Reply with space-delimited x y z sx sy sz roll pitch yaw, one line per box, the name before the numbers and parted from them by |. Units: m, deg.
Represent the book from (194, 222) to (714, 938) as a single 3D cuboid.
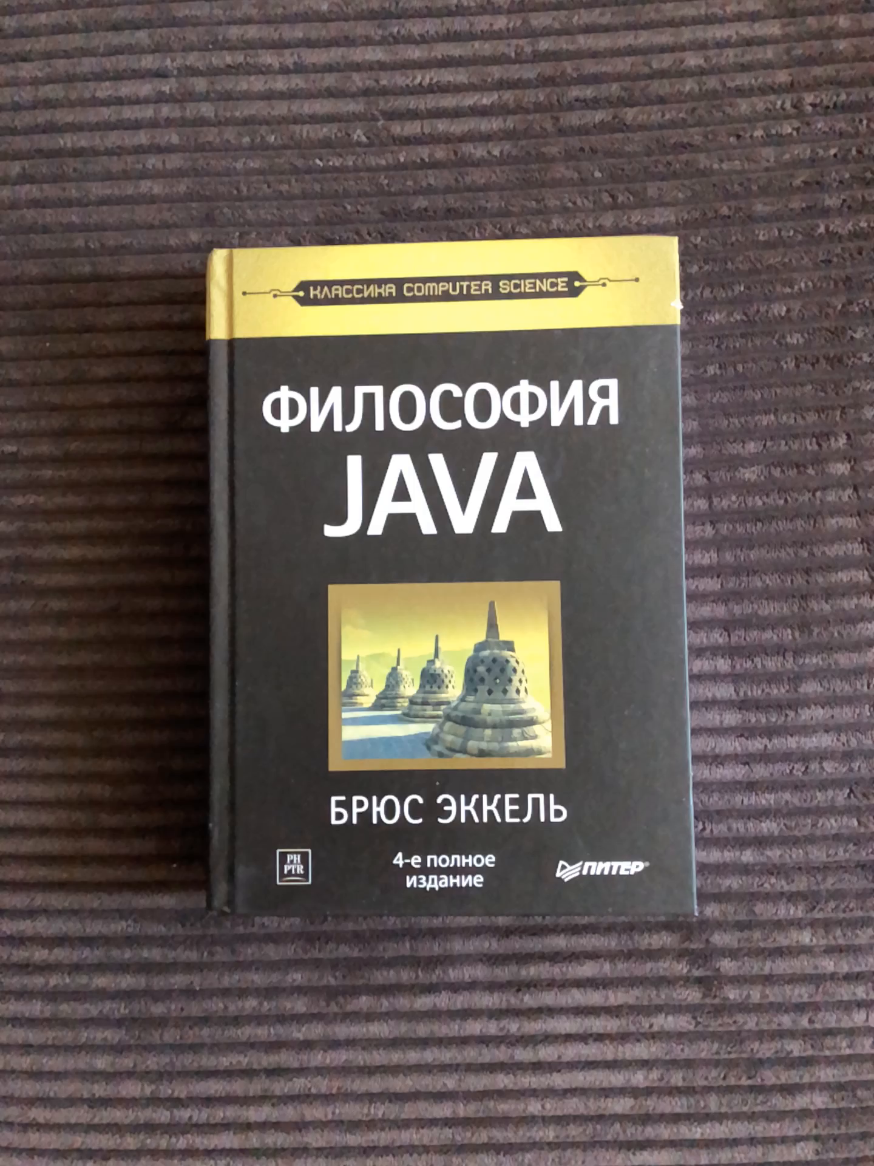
book | 0.004 -0.001 0.357 0.171 0.060 0.239 -1 87 2
